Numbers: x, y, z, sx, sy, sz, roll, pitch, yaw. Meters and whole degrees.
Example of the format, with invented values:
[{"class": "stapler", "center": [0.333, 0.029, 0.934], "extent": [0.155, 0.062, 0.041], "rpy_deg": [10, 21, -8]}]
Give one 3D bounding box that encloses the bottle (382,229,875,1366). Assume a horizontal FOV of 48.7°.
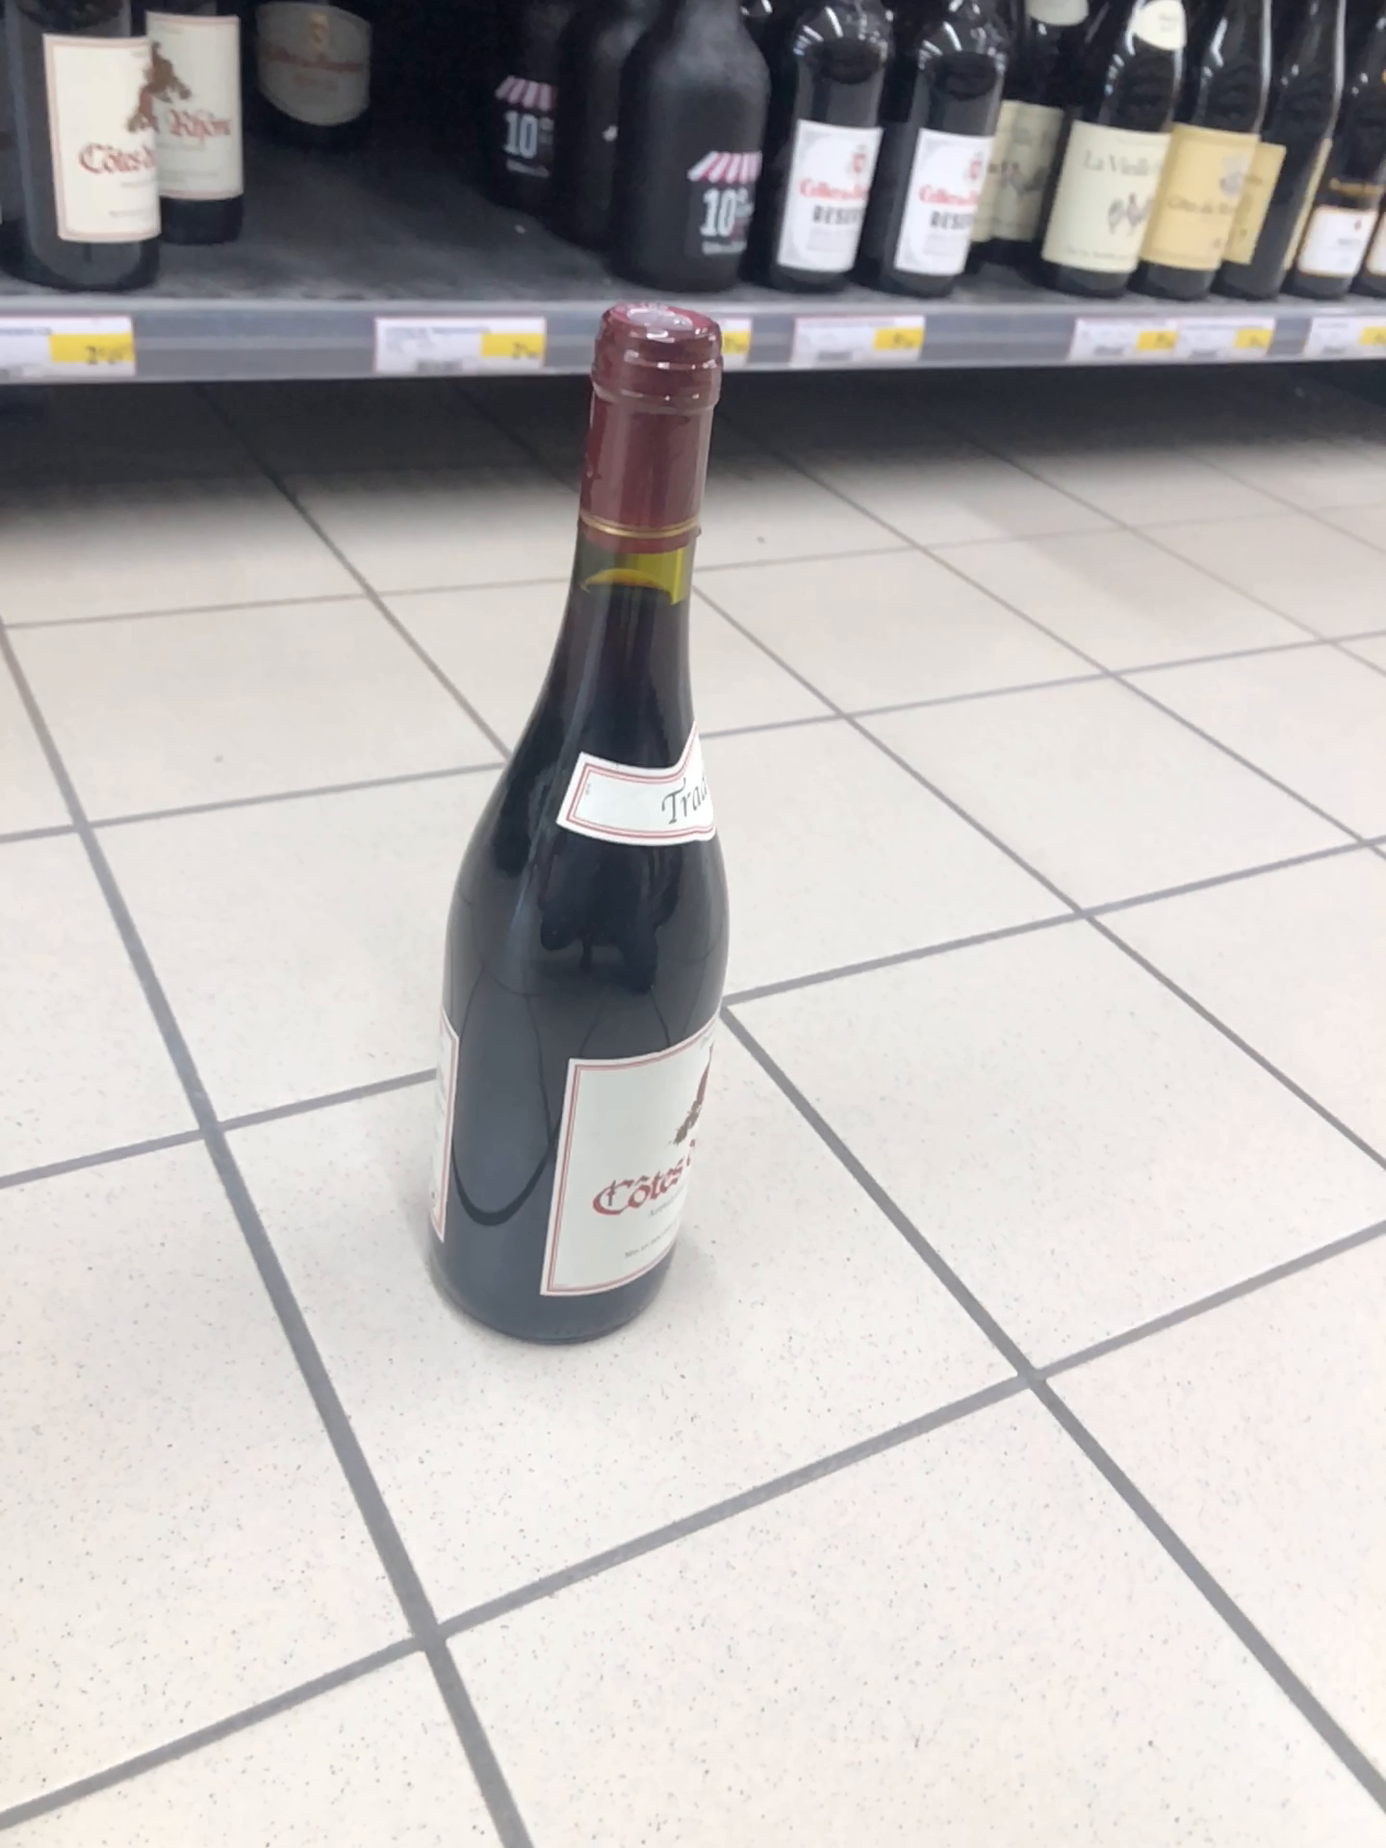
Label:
[{"class": "bottle", "center": [-0.024, -0.019, 0.416], "extent": [0.090, 0.288, 0.091], "rpy_deg": [7, 33, -4]}]
